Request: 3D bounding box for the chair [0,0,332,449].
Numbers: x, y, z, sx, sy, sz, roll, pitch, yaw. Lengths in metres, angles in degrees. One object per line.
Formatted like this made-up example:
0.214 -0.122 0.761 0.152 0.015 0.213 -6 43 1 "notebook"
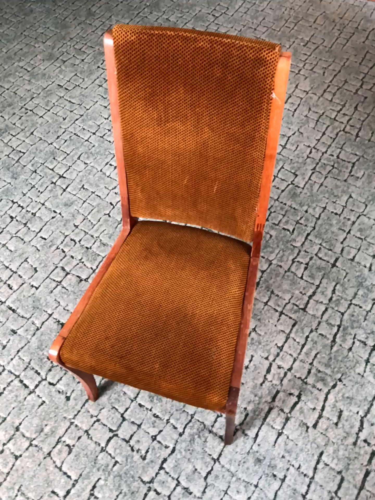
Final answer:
-0.046 0.057 0.957 0.470 0.925 0.531 13 60 12 "chair"
